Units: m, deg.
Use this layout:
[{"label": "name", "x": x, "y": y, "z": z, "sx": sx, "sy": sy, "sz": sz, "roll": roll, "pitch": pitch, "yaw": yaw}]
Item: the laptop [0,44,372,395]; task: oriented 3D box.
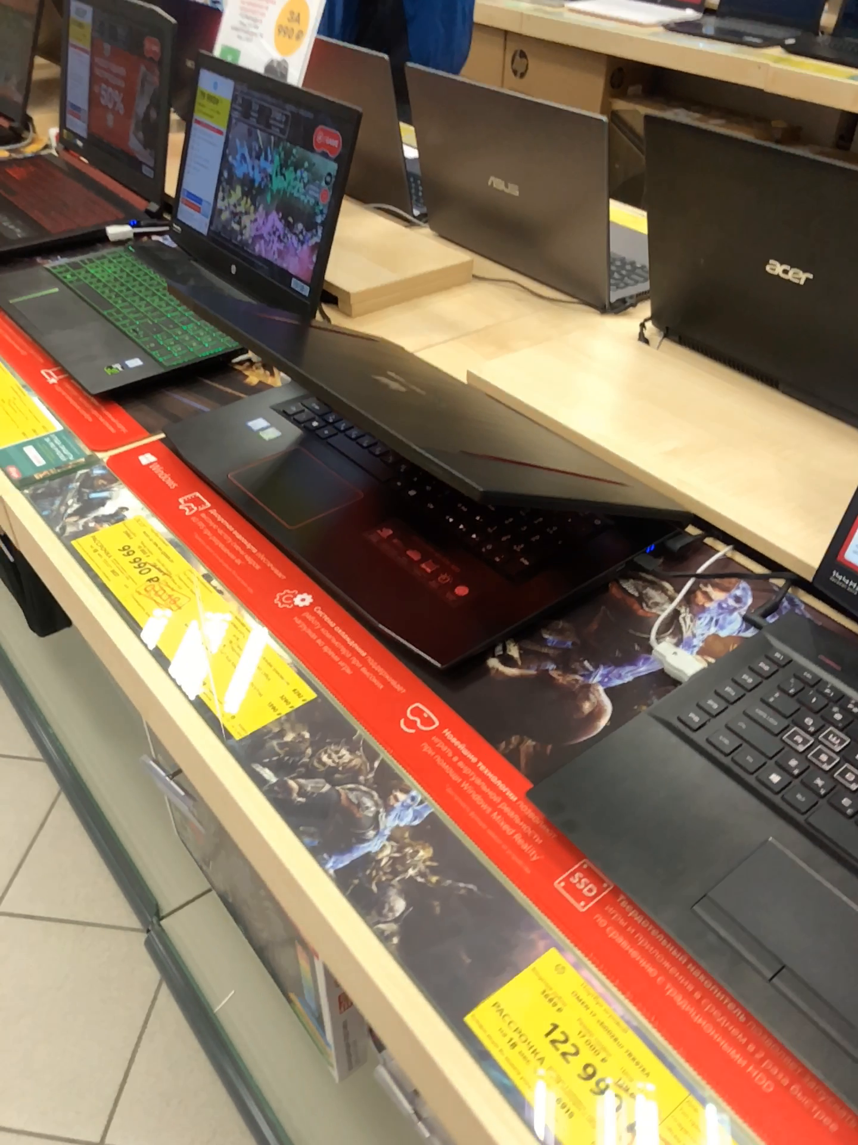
[{"label": "laptop", "x": -0.317, "y": -0.430, "z": 1.091, "sx": 0.343, "sy": 0.230, "sz": 0.351, "roll": -26, "pitch": 46, "yaw": -28}]

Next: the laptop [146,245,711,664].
[{"label": "laptop", "x": -0.021, "y": -0.137, "z": 0.814, "sx": 0.261, "sy": 0.124, "sz": 0.420, "roll": -27, "pitch": 45, "yaw": -30}]

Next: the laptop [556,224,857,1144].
[{"label": "laptop", "x": 0.322, "y": 0.058, "z": 0.454, "sx": 0.356, "sy": 0.250, "sz": 0.378, "roll": -27, "pitch": 45, "yaw": -27}]
